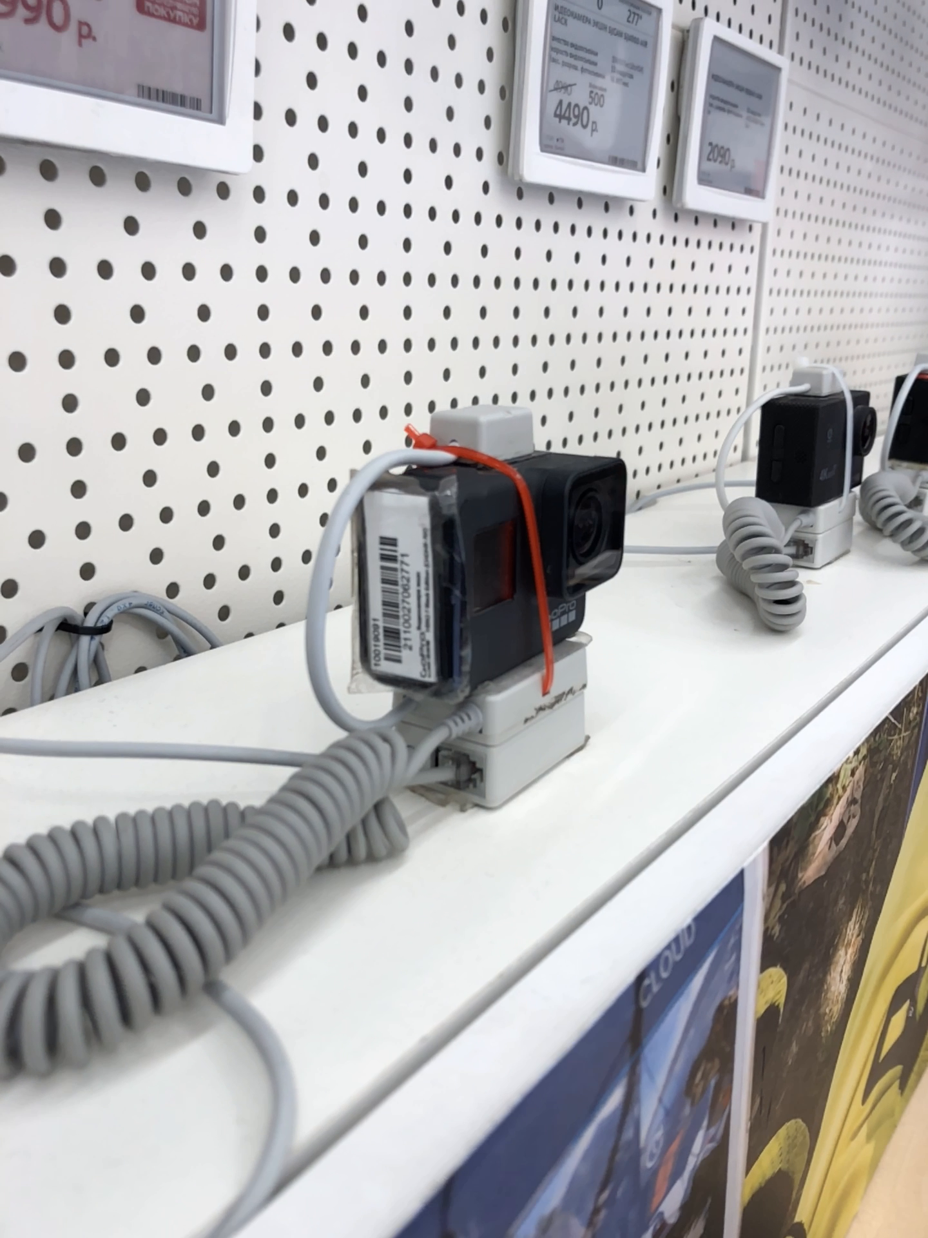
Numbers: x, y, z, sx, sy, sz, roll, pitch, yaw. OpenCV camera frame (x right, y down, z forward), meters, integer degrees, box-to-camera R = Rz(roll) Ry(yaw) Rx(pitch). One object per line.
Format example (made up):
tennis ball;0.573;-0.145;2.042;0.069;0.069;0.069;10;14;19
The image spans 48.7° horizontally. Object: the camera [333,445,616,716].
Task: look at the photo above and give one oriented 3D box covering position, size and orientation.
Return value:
camera;0.005;-0.012;0.225;0.032;0.043;0.064;10;19;30
